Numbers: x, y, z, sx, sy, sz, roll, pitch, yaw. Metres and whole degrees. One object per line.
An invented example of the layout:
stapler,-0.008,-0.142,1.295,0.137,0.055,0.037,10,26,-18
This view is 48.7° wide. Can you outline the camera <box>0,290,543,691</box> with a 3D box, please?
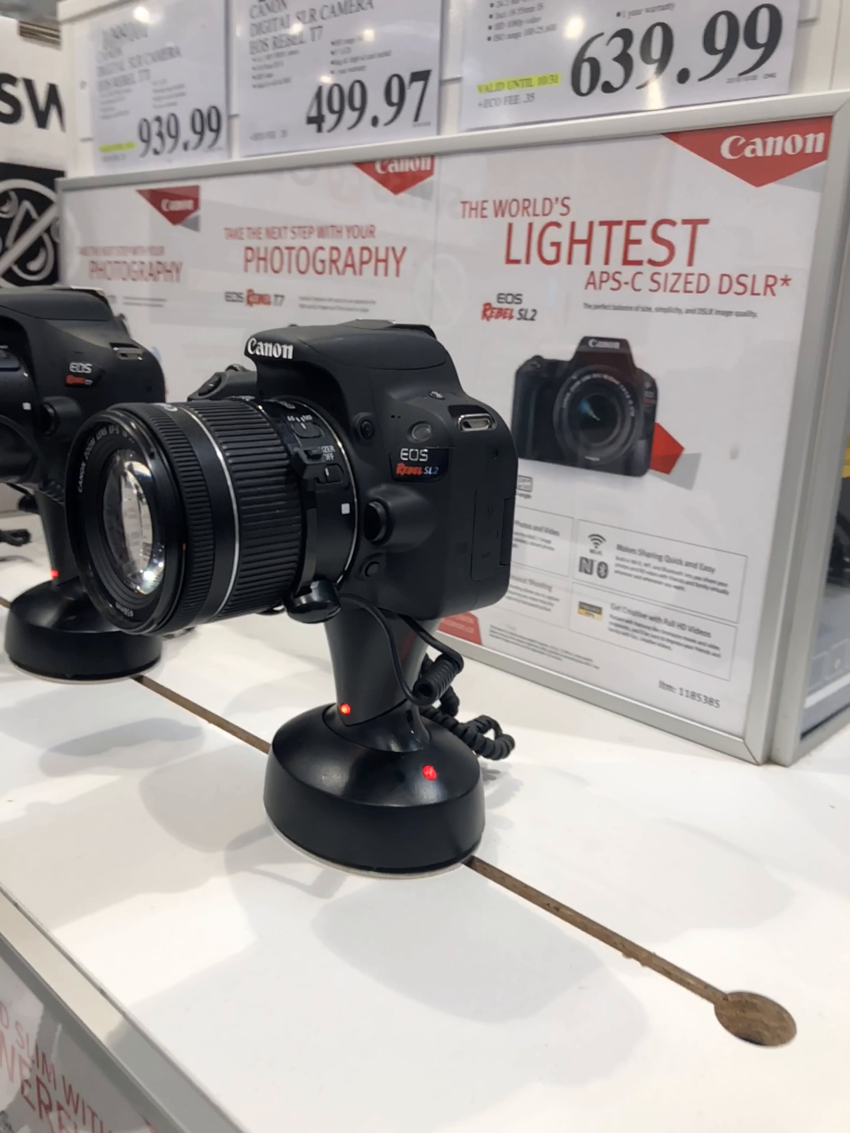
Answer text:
camera,-0.055,-0.037,0.300,0.130,0.090,0.120,17,20,42
